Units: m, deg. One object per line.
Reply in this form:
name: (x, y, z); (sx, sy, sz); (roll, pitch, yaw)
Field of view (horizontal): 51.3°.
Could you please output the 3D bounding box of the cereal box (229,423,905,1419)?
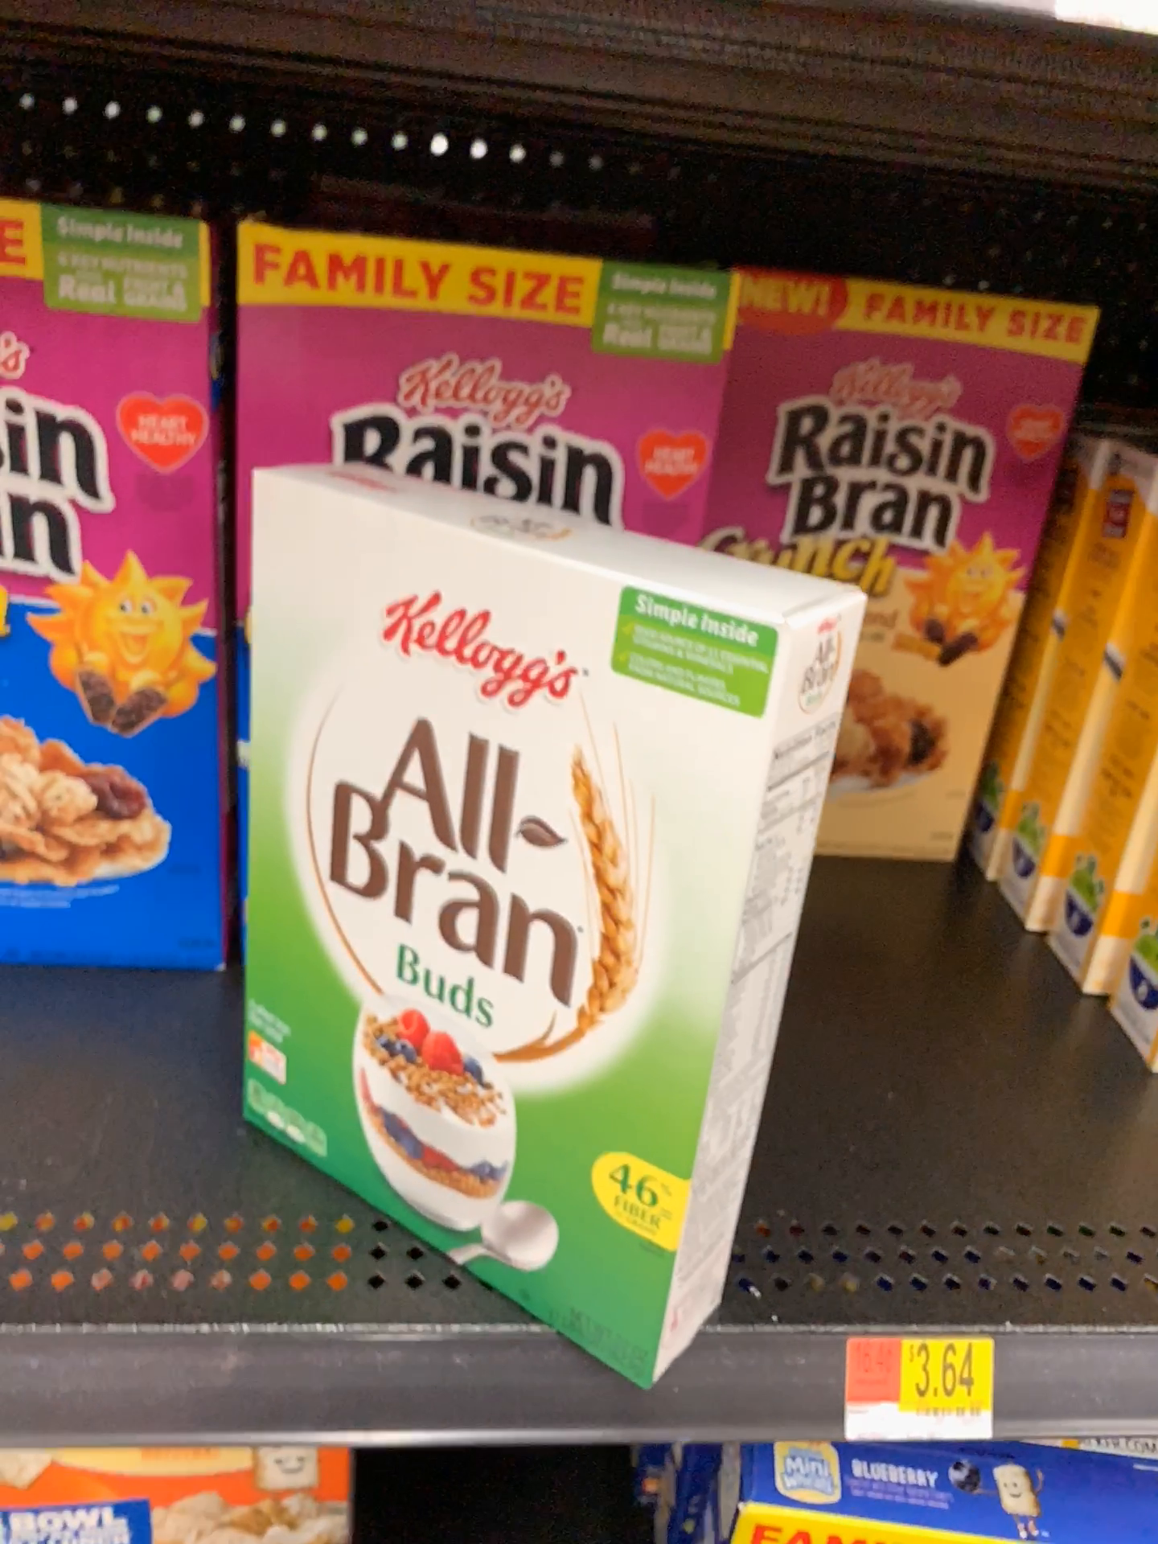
cereal box: (-0.025, 0.040, 0.382); (0.190, 0.259, 0.050); (21, 26, 30)
